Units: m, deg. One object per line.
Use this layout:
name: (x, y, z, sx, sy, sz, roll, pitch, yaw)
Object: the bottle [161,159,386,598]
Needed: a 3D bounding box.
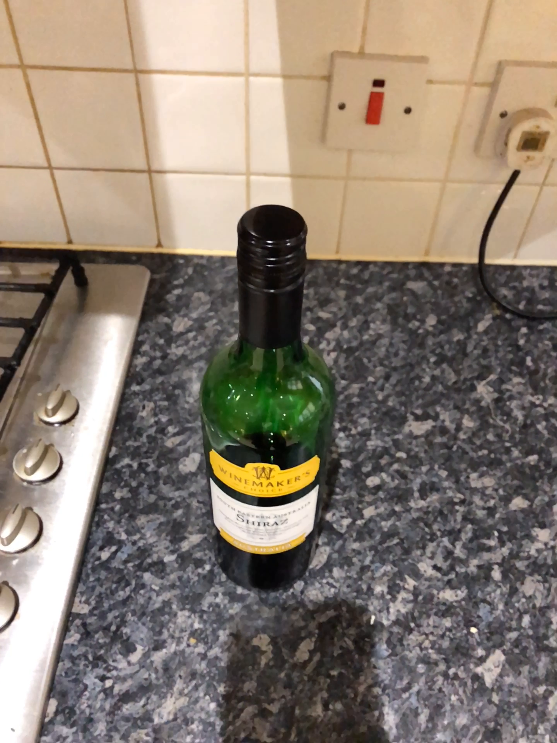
bottle: (-0.005, 0.031, 0.349, 0.080, 0.278, 0.081, 1, 48, -1)
